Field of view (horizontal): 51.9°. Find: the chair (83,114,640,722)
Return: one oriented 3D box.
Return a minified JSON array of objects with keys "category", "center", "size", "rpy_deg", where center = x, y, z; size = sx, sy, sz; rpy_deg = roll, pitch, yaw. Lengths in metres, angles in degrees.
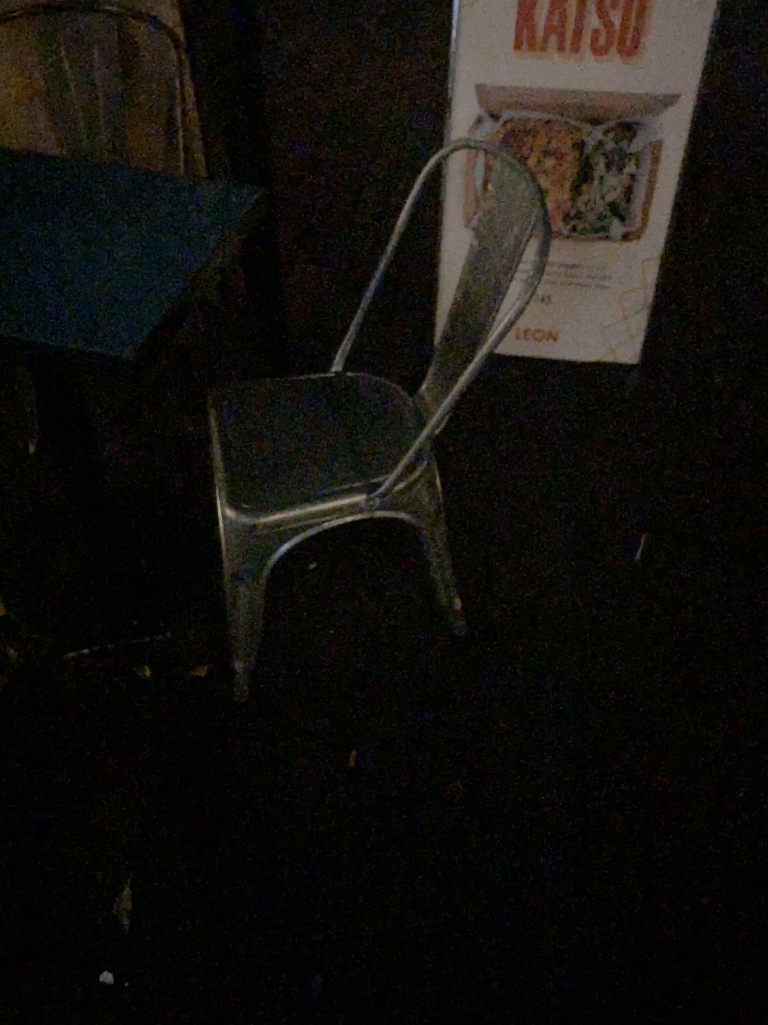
[{"category":"chair","center":[-0.067,-0.150,1.284],"size":[0.601,0.723,0.504],"rpy_deg":[-13,46,-14]}]
